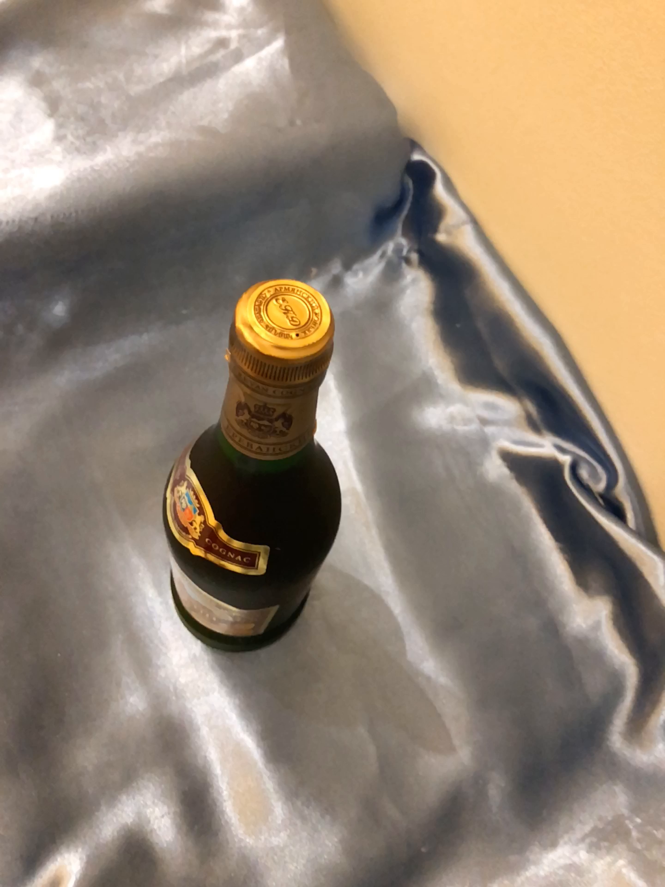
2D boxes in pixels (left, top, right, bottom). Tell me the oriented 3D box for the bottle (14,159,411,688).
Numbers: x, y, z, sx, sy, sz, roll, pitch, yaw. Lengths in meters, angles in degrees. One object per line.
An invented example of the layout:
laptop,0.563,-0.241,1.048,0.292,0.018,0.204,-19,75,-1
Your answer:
bottle,-0.042,0.022,0.297,0.074,0.247,0.080,2,62,-4
